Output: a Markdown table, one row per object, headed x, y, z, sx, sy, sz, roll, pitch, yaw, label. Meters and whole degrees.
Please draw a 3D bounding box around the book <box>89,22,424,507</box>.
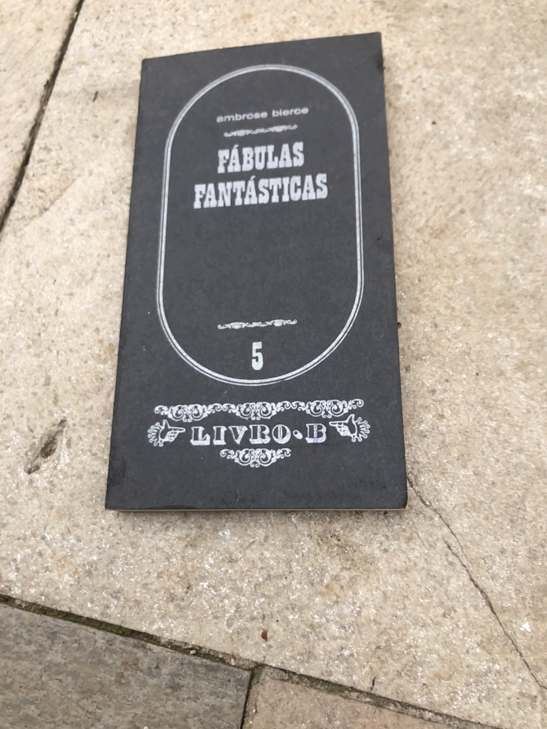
| x | y | z | sx | sy | sz | roll | pitch | yaw | label |
| --- | --- | --- | --- | --- | --- | --- | --- | --- | --- |
| -0.005 | -0.040 | 0.220 | 0.104 | 0.013 | 0.176 | -2 | 73 | 9 | book |
